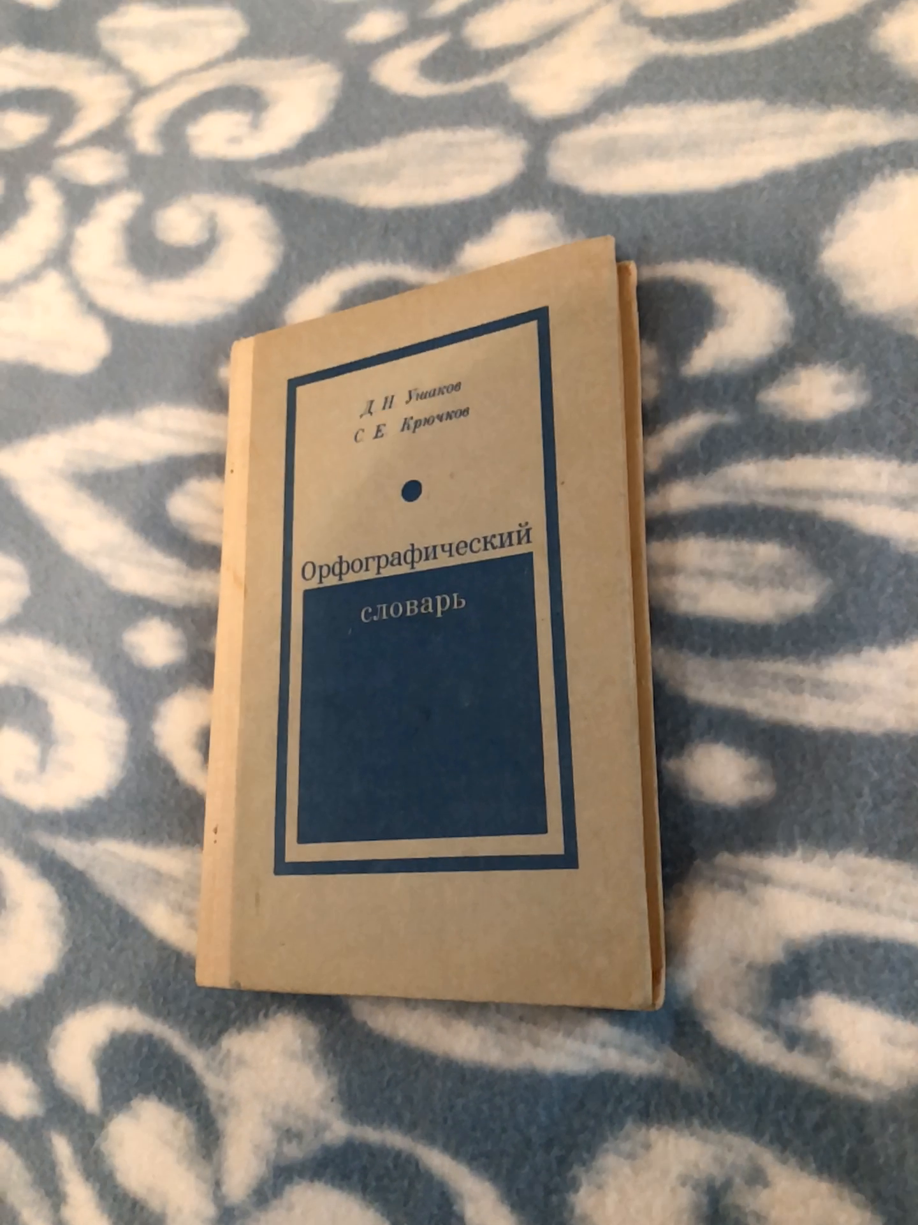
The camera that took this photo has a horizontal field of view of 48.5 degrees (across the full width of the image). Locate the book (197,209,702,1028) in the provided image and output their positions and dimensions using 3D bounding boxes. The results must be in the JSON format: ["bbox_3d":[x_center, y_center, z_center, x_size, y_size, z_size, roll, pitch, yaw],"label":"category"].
[{"bbox_3d":[-0.007,0.001,0.293,0.137,0.022,0.210,-7,74,26],"label":"book"}]
